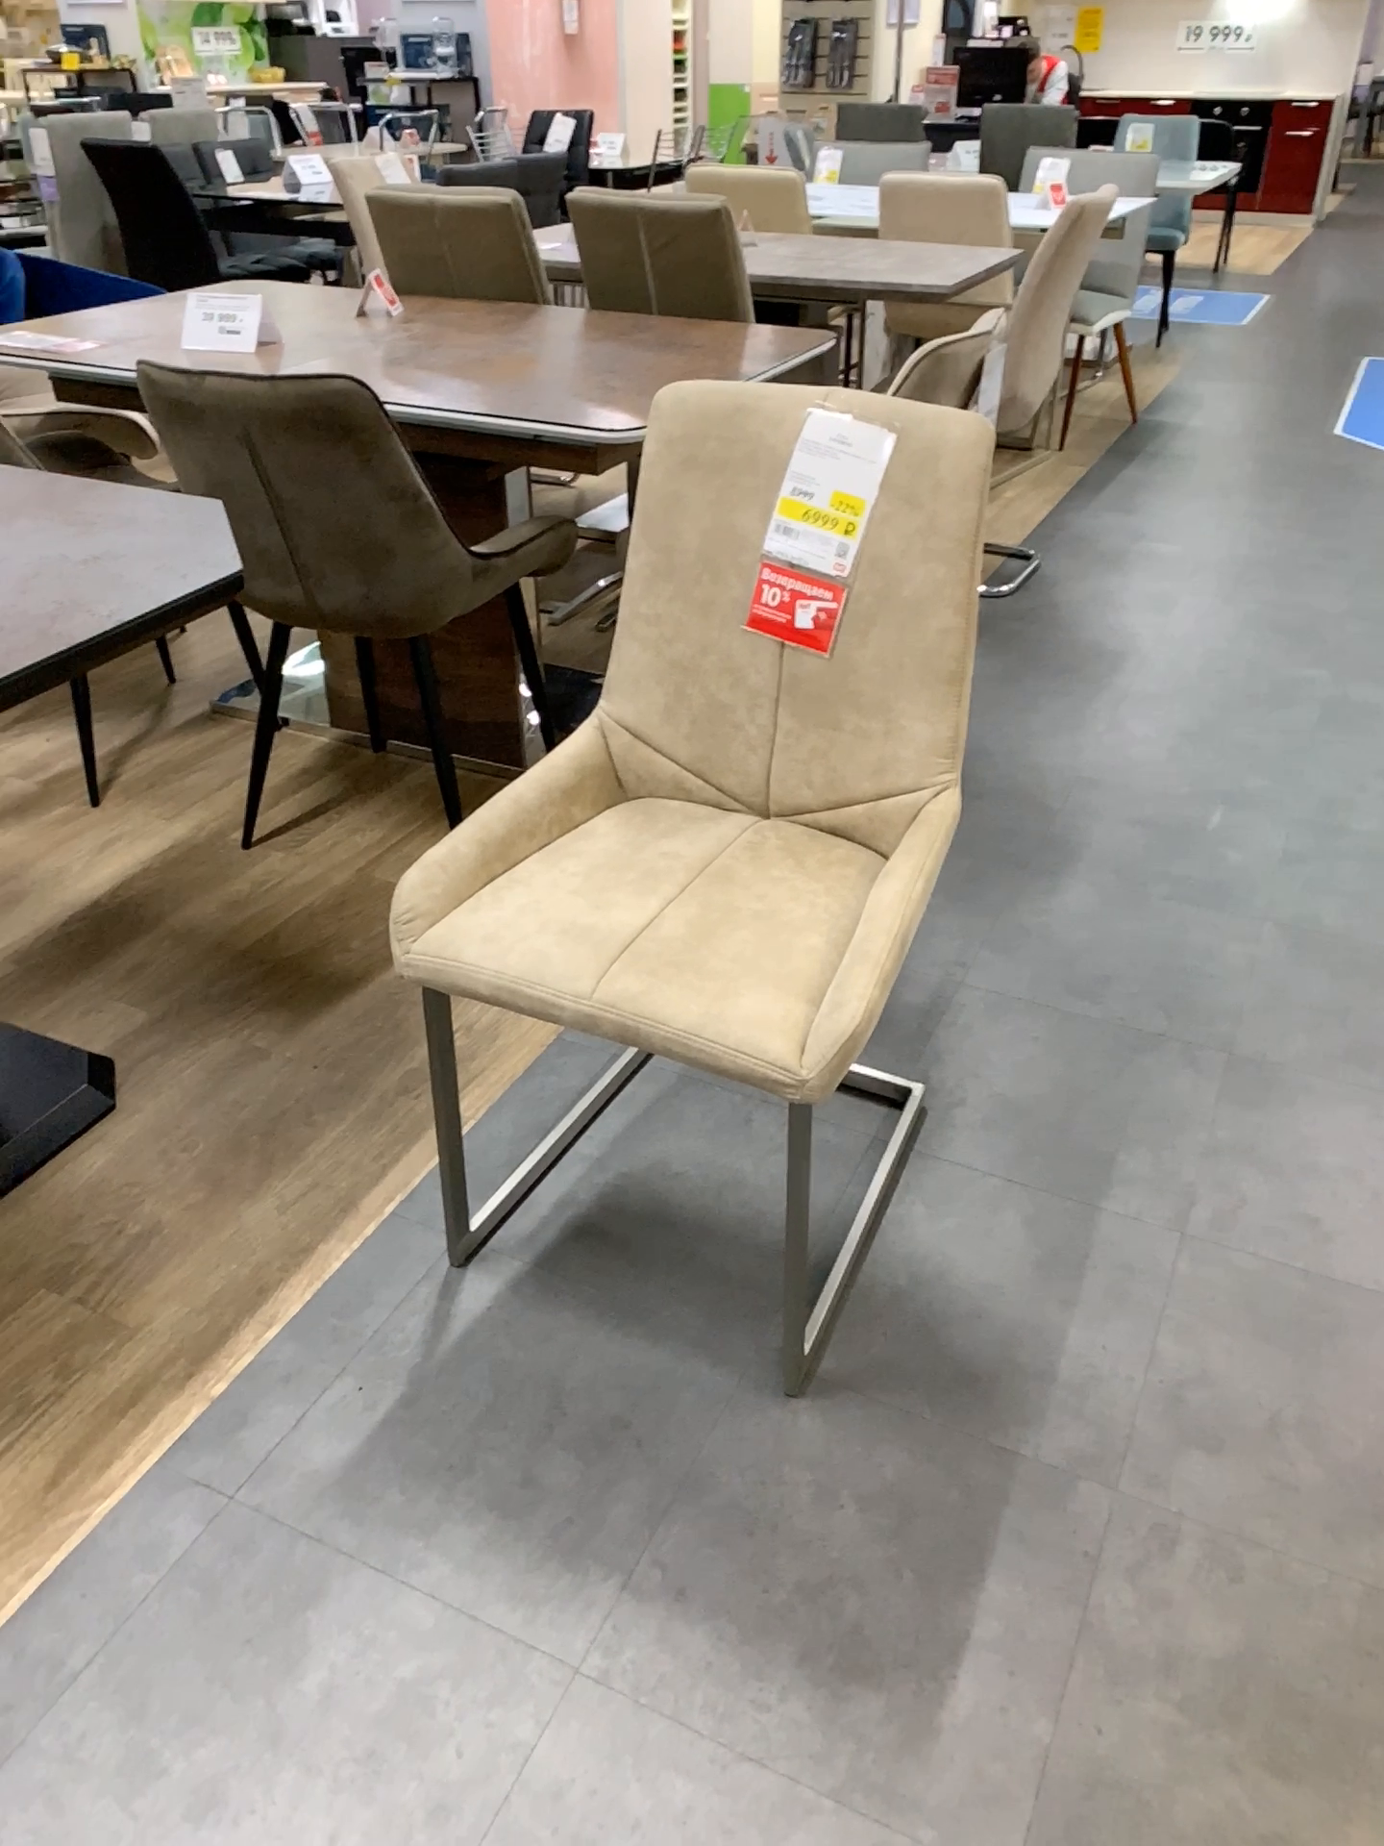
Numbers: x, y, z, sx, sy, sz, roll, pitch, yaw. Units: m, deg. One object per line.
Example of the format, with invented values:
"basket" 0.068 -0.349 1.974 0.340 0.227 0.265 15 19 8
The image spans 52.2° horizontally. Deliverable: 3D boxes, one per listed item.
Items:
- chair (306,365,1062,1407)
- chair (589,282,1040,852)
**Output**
"chair" 0.030 -0.074 1.551 0.510 0.887 0.586 13 34 21
"chair" 0.217 -0.671 2.597 0.624 0.842 0.482 14 34 22
